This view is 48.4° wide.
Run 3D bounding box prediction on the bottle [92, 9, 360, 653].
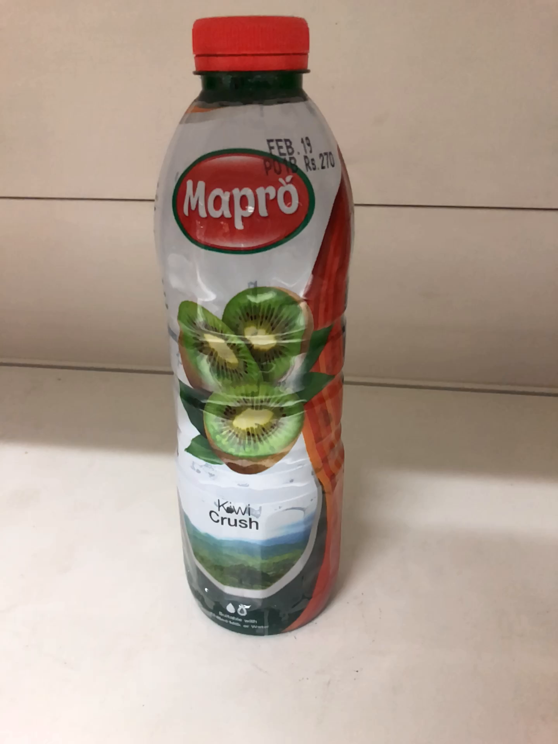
[{"bbox_3d":[-0.012,-0.004,0.269,0.080,0.258,0.070,3,25,6],"label":"bottle"}]
